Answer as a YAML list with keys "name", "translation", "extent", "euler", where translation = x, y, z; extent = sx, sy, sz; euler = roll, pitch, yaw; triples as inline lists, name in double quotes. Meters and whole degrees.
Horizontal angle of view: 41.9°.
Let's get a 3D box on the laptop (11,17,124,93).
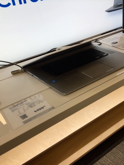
- name: "laptop"
  translation: [0.071, -0.134, 0.644]
  extent: [0.374, 0.158, 0.266]
  euler: [-28, 43, -29]
